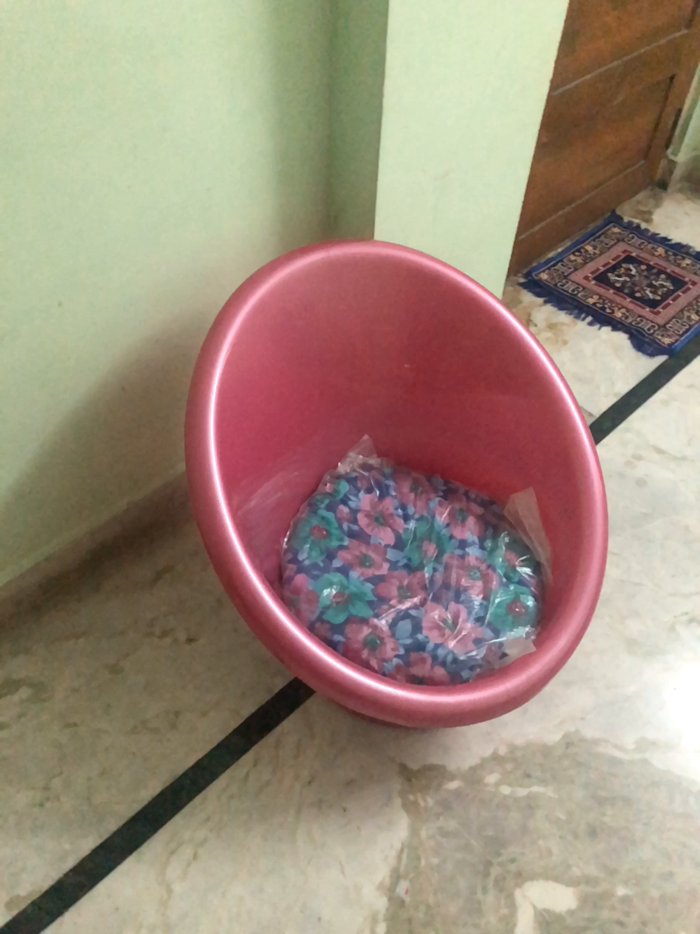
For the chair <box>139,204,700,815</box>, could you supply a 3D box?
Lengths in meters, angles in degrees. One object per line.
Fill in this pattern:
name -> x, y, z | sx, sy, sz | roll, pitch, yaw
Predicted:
chair -> 0.077, 0.039, 1.235 | 0.640, 0.547, 0.663 | -13, 51, -13
